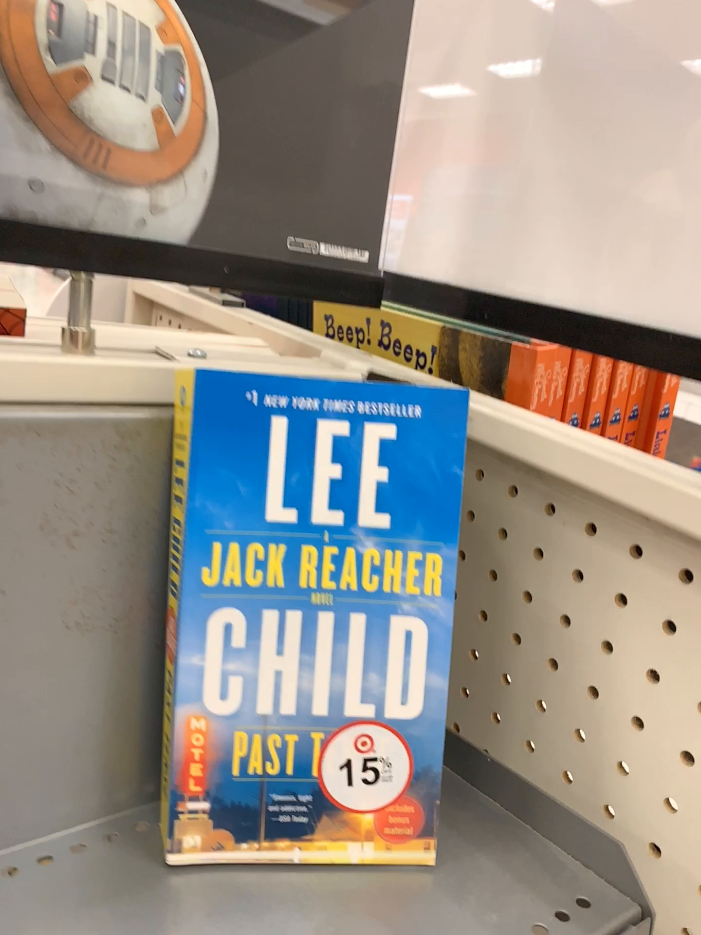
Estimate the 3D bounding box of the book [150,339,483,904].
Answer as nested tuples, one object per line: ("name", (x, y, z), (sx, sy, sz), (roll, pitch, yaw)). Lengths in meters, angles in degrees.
("book", (-0.018, 0.055, 0.311), (0.110, 0.197, 0.080), (3, 0, -24))
